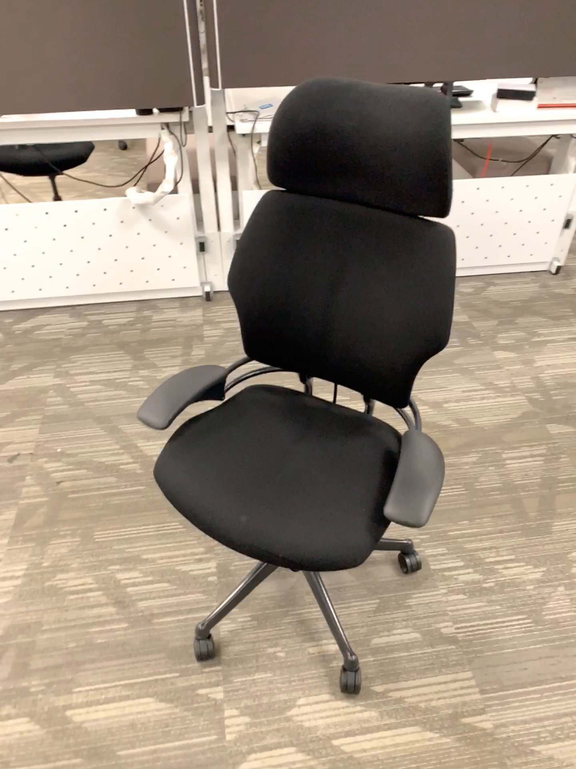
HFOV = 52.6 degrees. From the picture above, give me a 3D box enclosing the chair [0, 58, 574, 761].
[{"bbox_3d":[0.032,0.015,1.237,0.691,1.090,0.775,18,41,22],"label":"chair"}]
